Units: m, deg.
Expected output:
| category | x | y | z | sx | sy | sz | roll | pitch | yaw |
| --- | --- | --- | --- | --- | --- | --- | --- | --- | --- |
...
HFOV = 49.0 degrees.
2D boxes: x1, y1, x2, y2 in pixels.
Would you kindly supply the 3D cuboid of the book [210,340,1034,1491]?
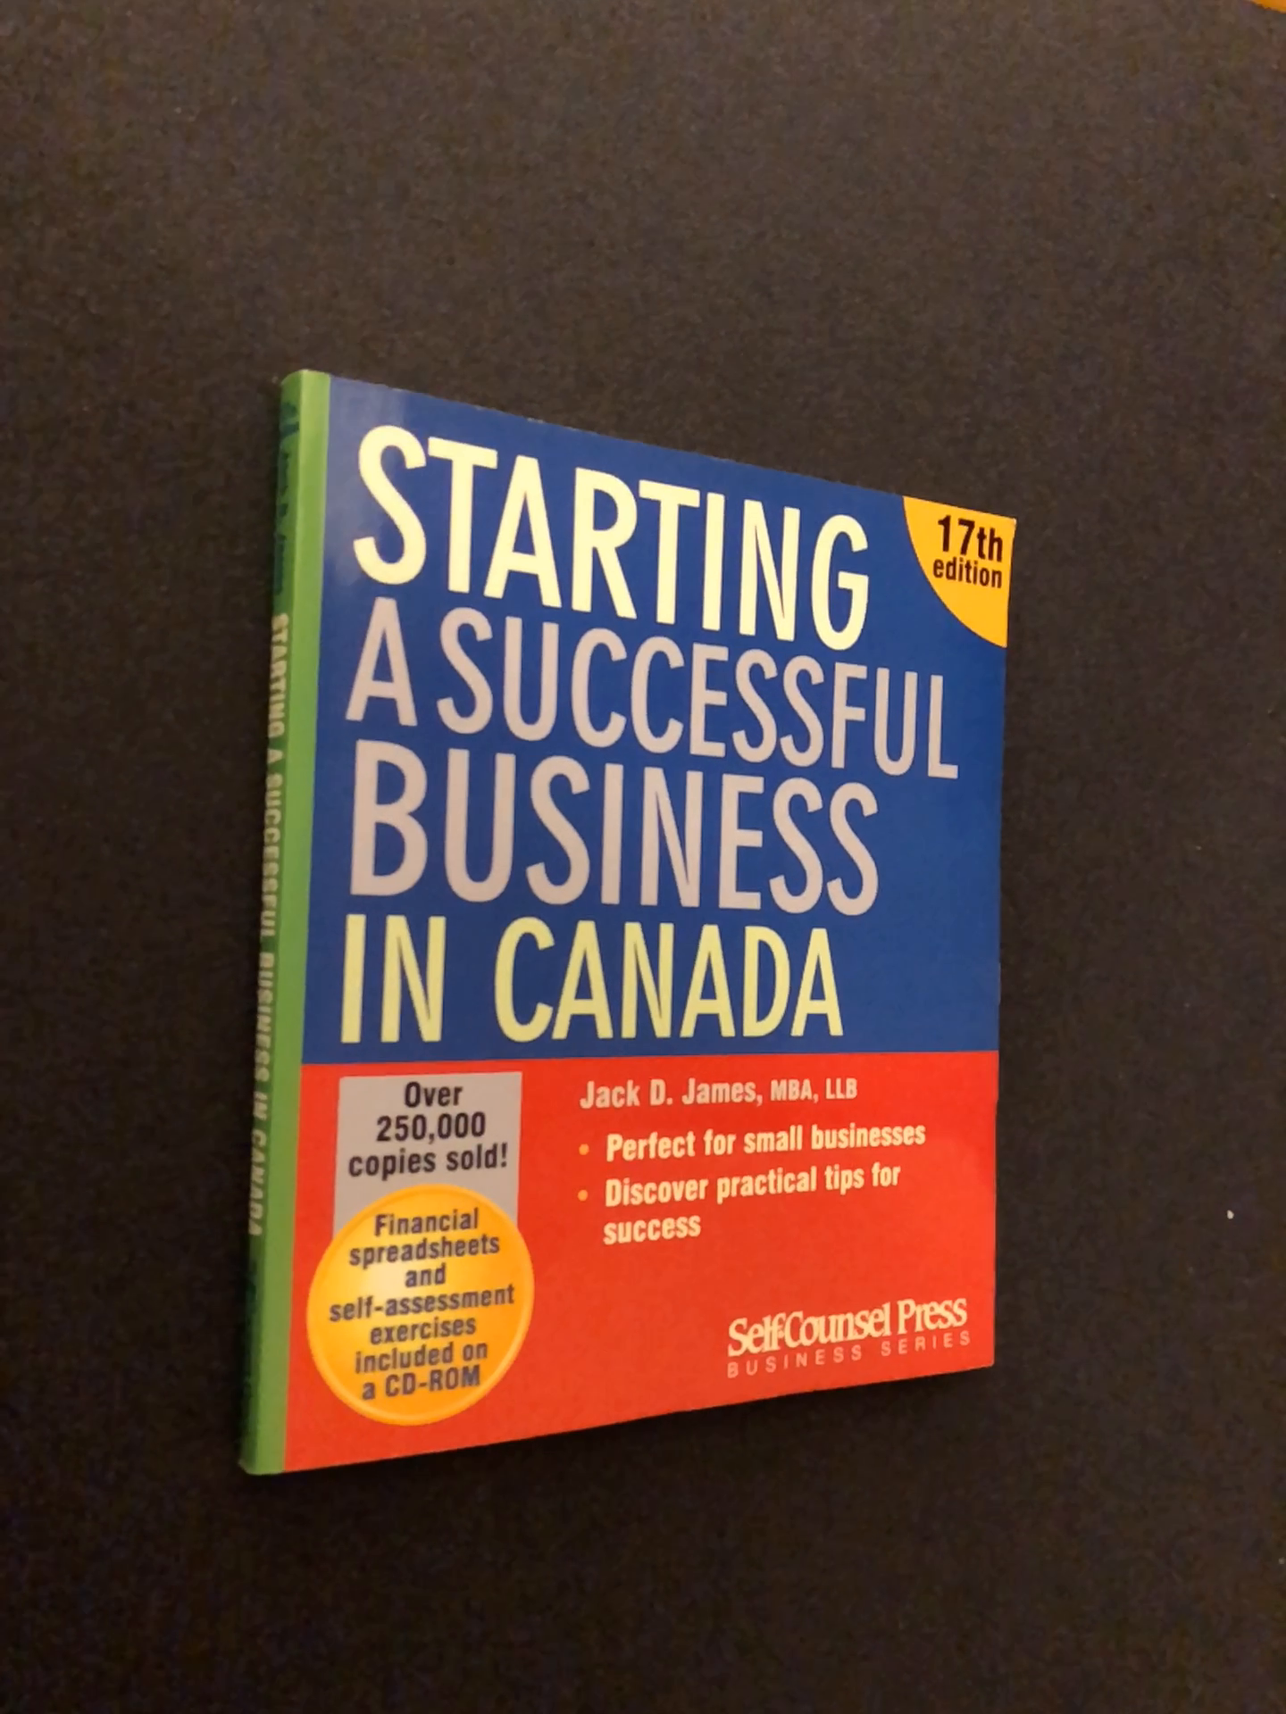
| category | x | y | z | sx | sy | sz | roll | pitch | yaw |
| --- | --- | --- | --- | --- | --- | --- | --- | --- | --- |
| book | 0.006 | 0.017 | 0.369 | 0.210 | 0.040 | 0.247 | 4 | 86 | -28 |
